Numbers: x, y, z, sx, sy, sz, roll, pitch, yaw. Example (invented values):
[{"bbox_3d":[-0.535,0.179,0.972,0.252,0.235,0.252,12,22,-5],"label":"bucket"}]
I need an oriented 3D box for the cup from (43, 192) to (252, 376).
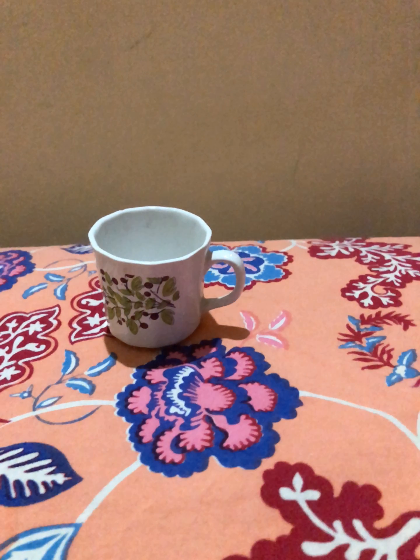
[{"bbox_3d":[-0.027,-0.001,0.255,0.090,0.070,0.060,6,34,12],"label":"cup"}]
